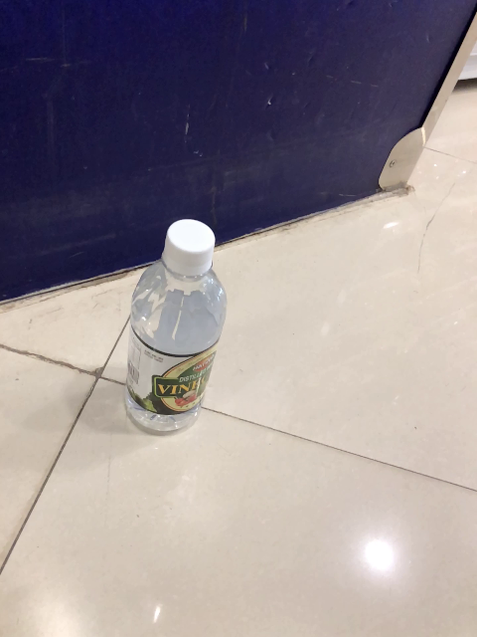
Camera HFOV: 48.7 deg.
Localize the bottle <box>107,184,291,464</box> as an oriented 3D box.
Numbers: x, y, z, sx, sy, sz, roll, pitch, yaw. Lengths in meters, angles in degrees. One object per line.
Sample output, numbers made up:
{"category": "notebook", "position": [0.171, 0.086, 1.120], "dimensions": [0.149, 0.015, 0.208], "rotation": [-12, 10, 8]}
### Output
{"category": "bottle", "position": [-0.039, 0.013, 0.377], "dimensions": [0.080, 0.189, 0.070], "rotation": [-29, 62, -33]}
